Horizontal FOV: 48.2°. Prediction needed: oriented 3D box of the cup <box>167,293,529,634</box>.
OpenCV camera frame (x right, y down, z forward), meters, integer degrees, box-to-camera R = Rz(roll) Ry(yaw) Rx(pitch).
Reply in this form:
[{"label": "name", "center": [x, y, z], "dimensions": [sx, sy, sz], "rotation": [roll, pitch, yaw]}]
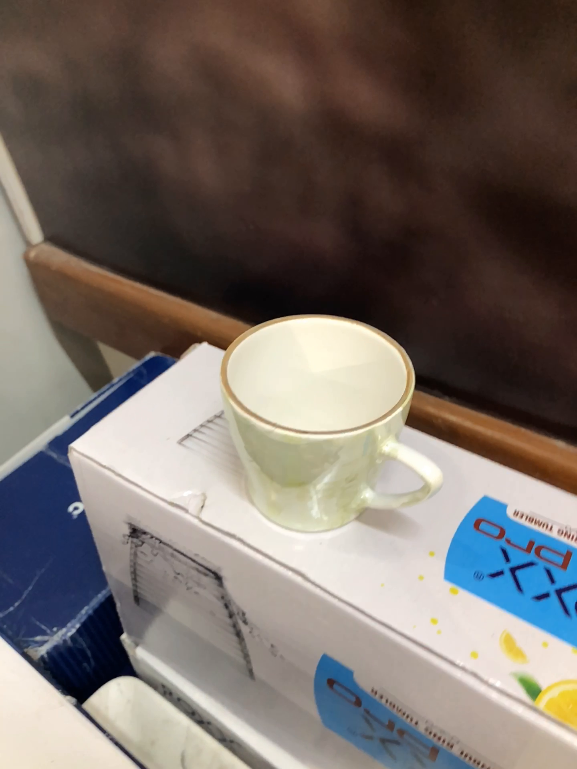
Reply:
[{"label": "cup", "center": [0.021, 0.023, 0.235], "dimensions": [0.100, 0.060, 0.070], "rotation": [22, 46, 24]}]
